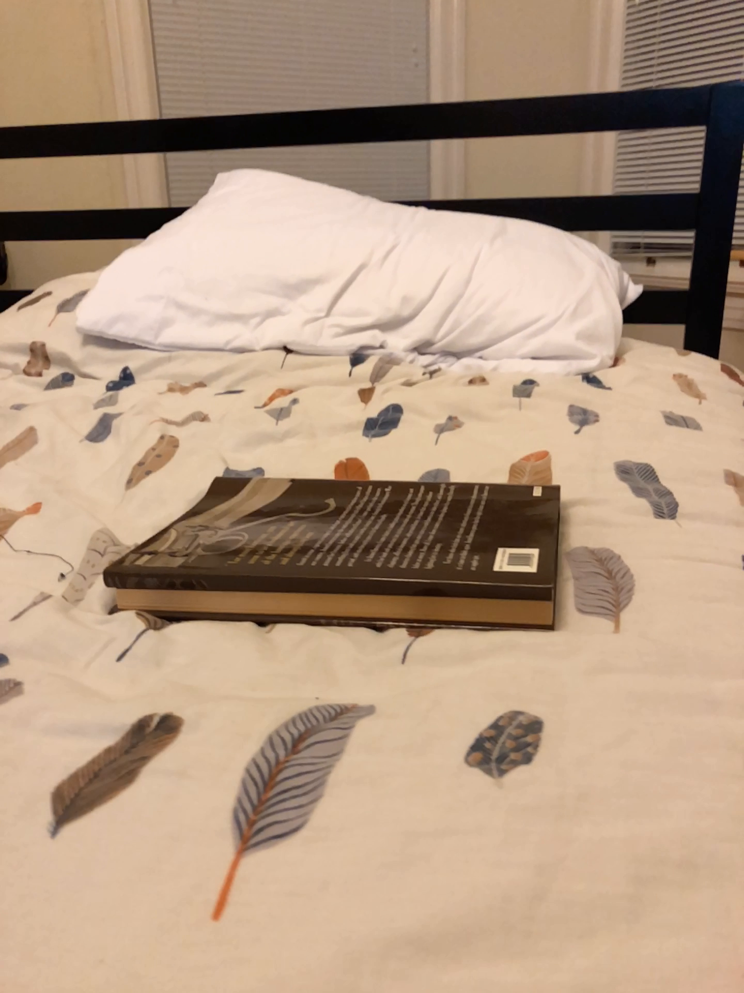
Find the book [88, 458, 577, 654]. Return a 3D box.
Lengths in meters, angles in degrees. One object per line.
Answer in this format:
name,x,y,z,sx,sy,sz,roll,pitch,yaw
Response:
book,-0.006,0.022,0.475,0.240,0.030,0.181,3,20,13
